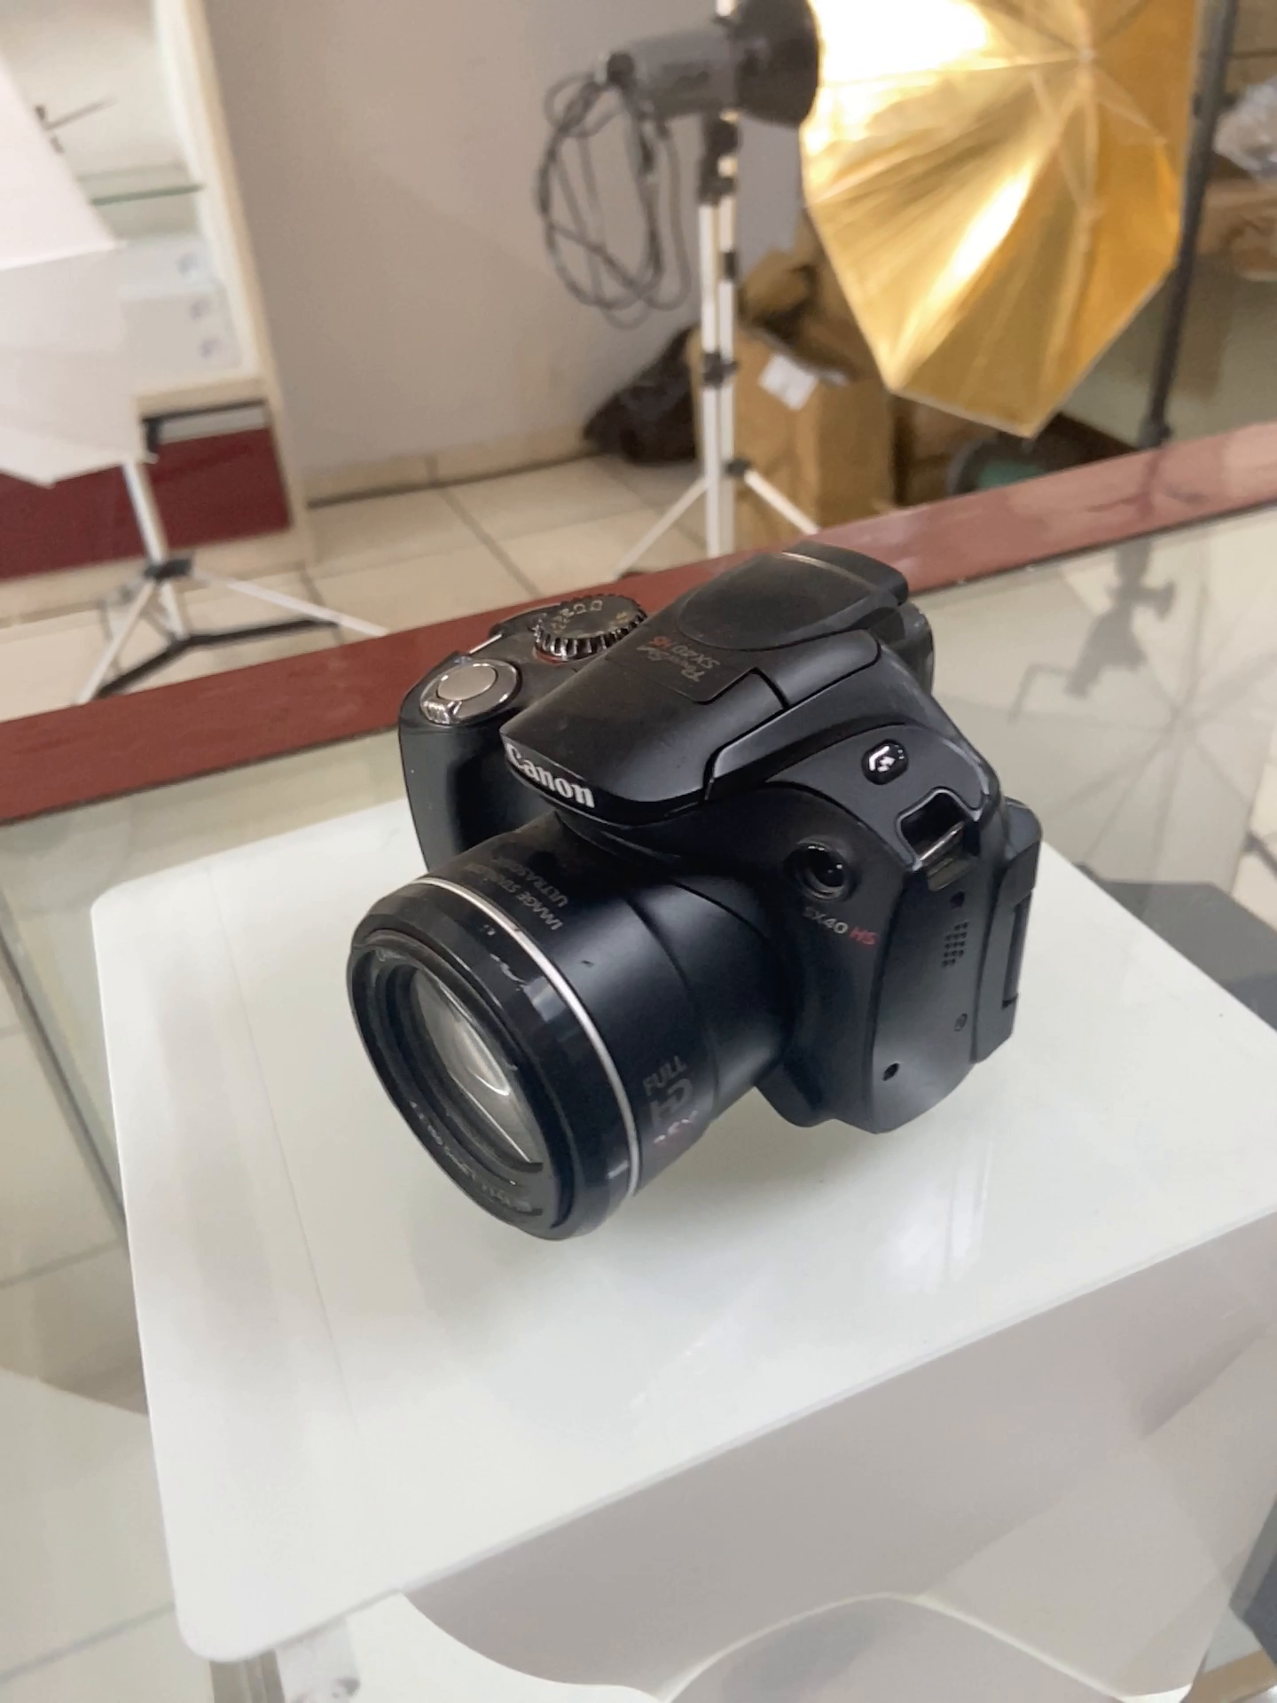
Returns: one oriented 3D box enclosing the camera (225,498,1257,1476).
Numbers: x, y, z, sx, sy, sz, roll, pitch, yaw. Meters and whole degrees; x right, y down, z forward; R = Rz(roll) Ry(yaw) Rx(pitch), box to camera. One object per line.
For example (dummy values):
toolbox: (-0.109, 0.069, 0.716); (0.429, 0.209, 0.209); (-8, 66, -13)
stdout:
camera: (0.023, 0.008, 0.260); (0.120, 0.089, 0.141); (26, 45, 35)
